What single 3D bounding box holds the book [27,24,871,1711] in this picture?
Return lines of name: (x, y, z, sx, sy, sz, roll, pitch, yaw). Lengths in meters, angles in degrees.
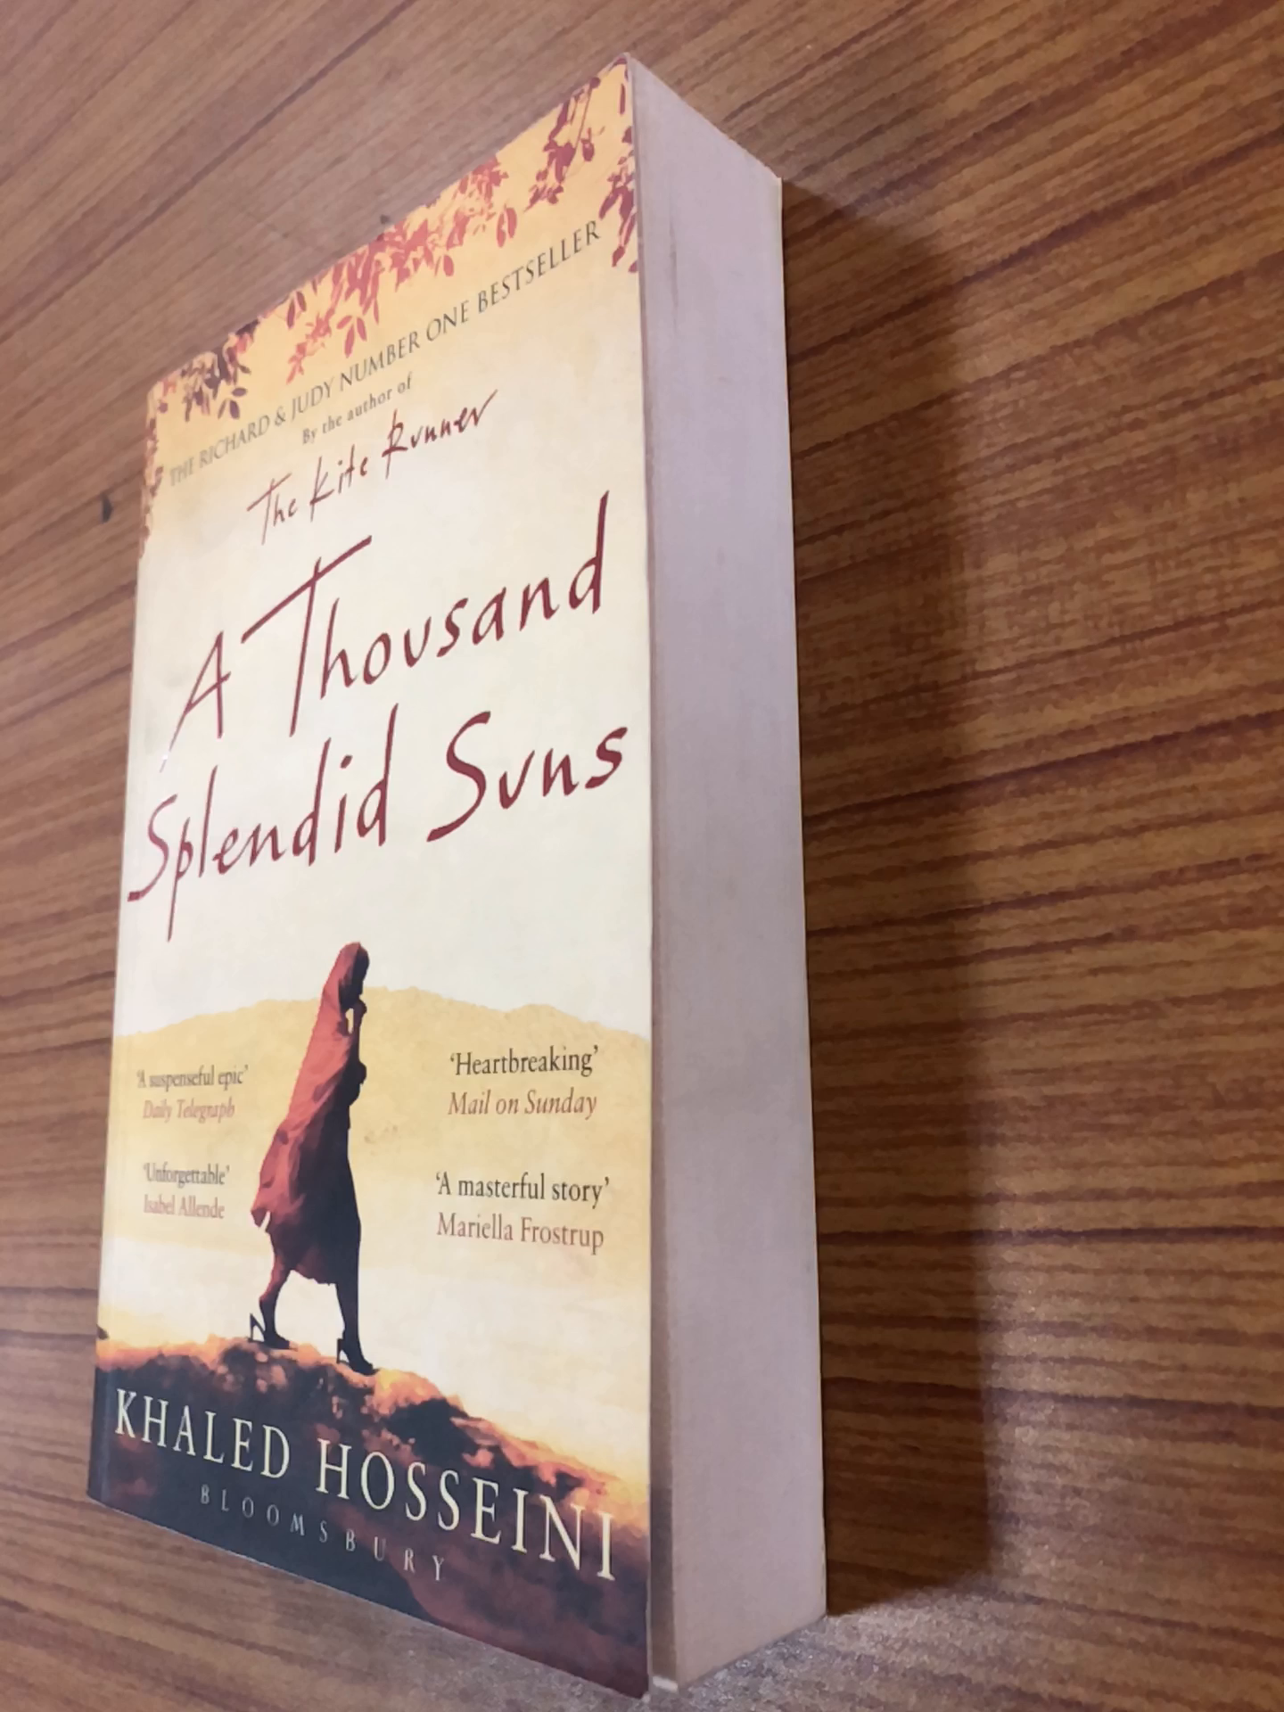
book: (-0.039, 0.004, 0.216, 0.141, 0.030, 0.190, -10, 77, 40)
